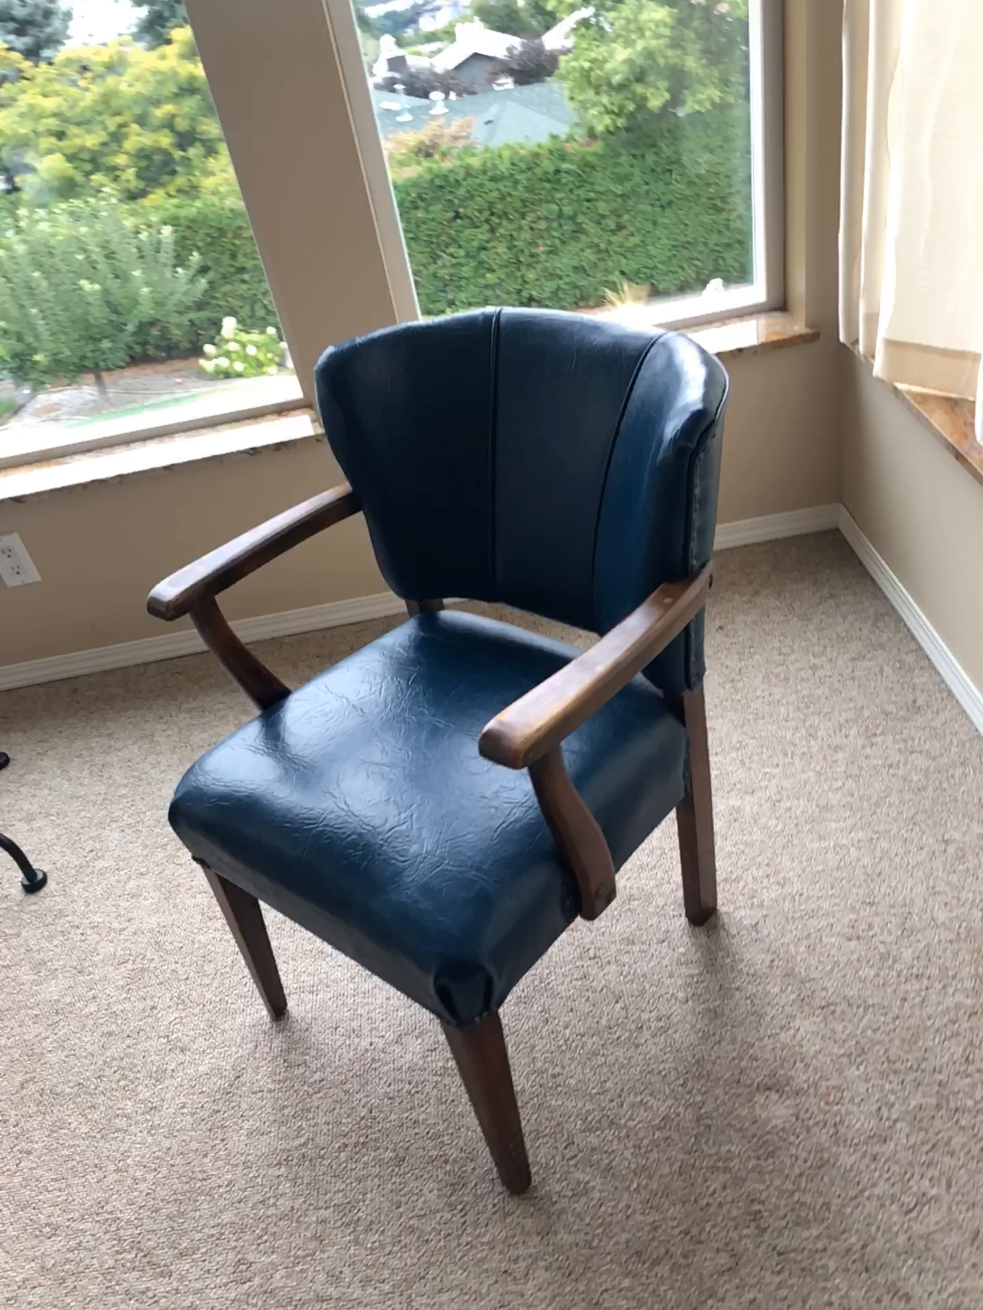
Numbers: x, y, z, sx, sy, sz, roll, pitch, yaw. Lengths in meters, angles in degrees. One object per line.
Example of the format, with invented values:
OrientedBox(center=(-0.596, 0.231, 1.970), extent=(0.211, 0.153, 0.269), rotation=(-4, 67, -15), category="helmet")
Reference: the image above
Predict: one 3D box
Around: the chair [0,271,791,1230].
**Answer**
OrientedBox(center=(-0.038, 0.077, 1.234), extent=(0.532, 0.797, 0.560), rotation=(20, 47, 36), category="chair")
